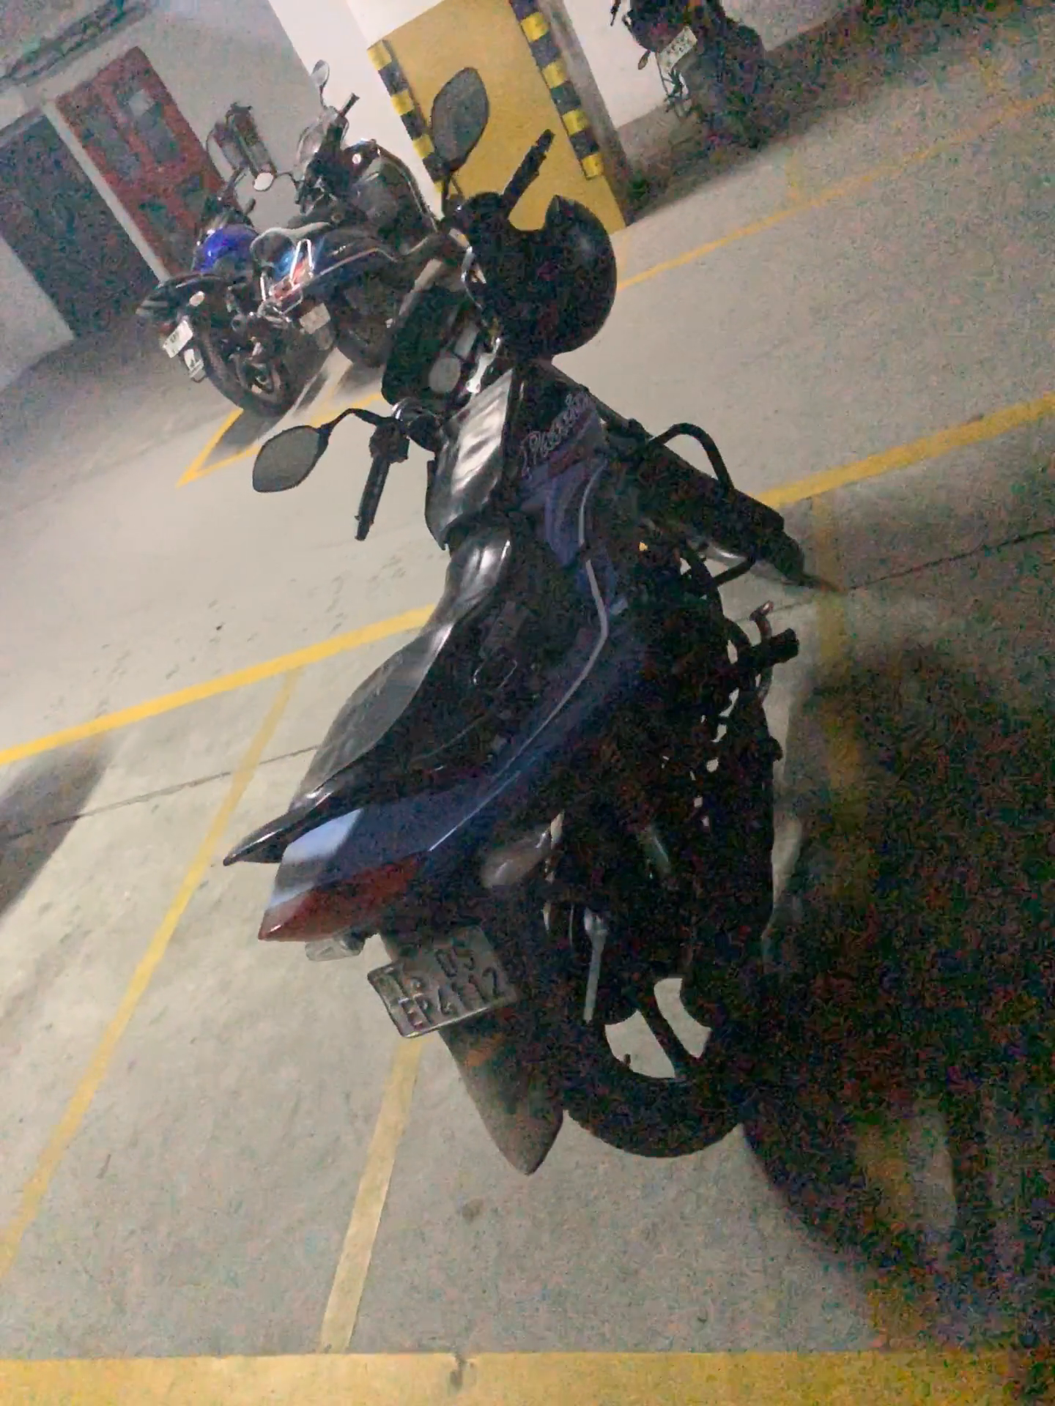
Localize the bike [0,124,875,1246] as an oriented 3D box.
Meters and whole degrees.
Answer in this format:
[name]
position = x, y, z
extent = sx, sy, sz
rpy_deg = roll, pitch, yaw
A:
[bike]
position = -0.106, -0.155, 1.930
extent = 0.782, 1.107, 1.707
rpy_deg = -20, 33, 19
